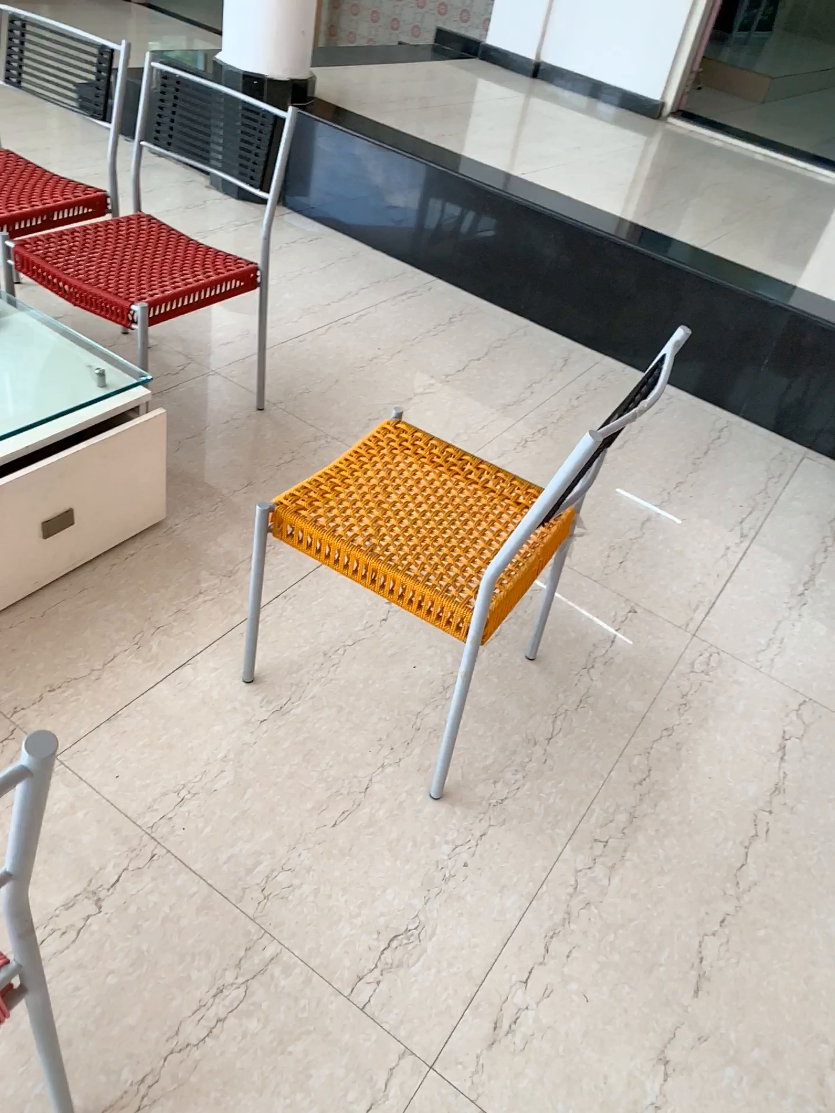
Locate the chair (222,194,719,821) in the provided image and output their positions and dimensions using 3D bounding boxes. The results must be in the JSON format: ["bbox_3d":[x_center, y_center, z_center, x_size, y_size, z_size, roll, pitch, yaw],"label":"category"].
[{"bbox_3d":[0.052,-0.094,1.476,0.511,0.803,0.523,28,40,18],"label":"chair"}]
